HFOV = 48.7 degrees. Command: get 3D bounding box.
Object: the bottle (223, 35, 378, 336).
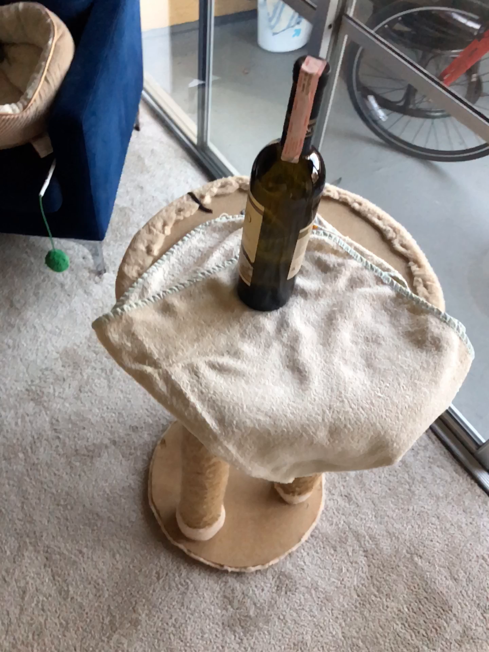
[{"bbox_3d":[0.040,-0.110,0.508,0.080,0.269,0.080,3,55,-4],"label":"bottle"}]
